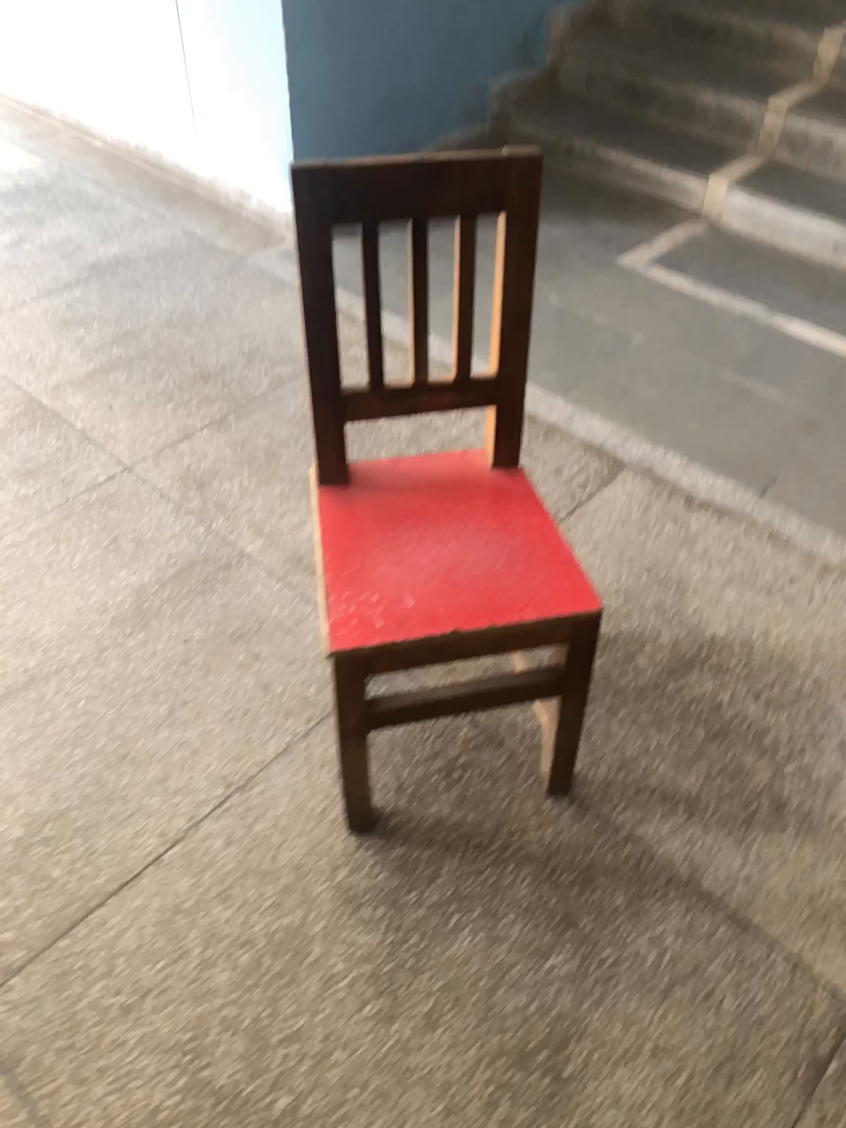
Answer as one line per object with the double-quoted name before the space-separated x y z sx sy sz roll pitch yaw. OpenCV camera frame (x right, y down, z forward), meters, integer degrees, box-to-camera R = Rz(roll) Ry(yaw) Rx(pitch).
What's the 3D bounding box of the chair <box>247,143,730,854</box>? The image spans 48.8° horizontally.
"chair" 0.018 -0.064 1.289 0.400 0.818 0.481 -8 44 -12
